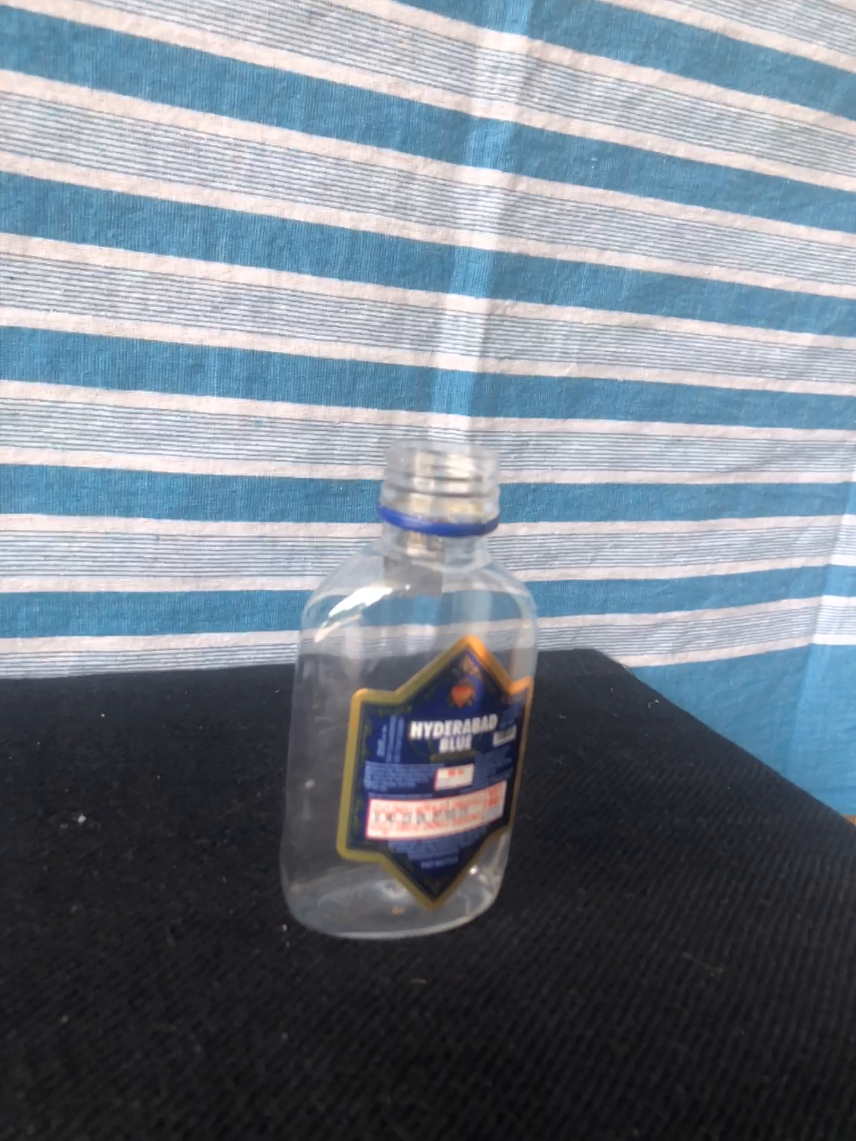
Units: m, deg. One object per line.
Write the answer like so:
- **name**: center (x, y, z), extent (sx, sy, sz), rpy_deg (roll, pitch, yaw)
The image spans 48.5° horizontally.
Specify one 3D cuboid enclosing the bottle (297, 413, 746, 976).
- **bottle**: center (0.015, 0.024, 0.204), extent (0.060, 0.100, 0.050), rpy_deg (2, 20, -27)
